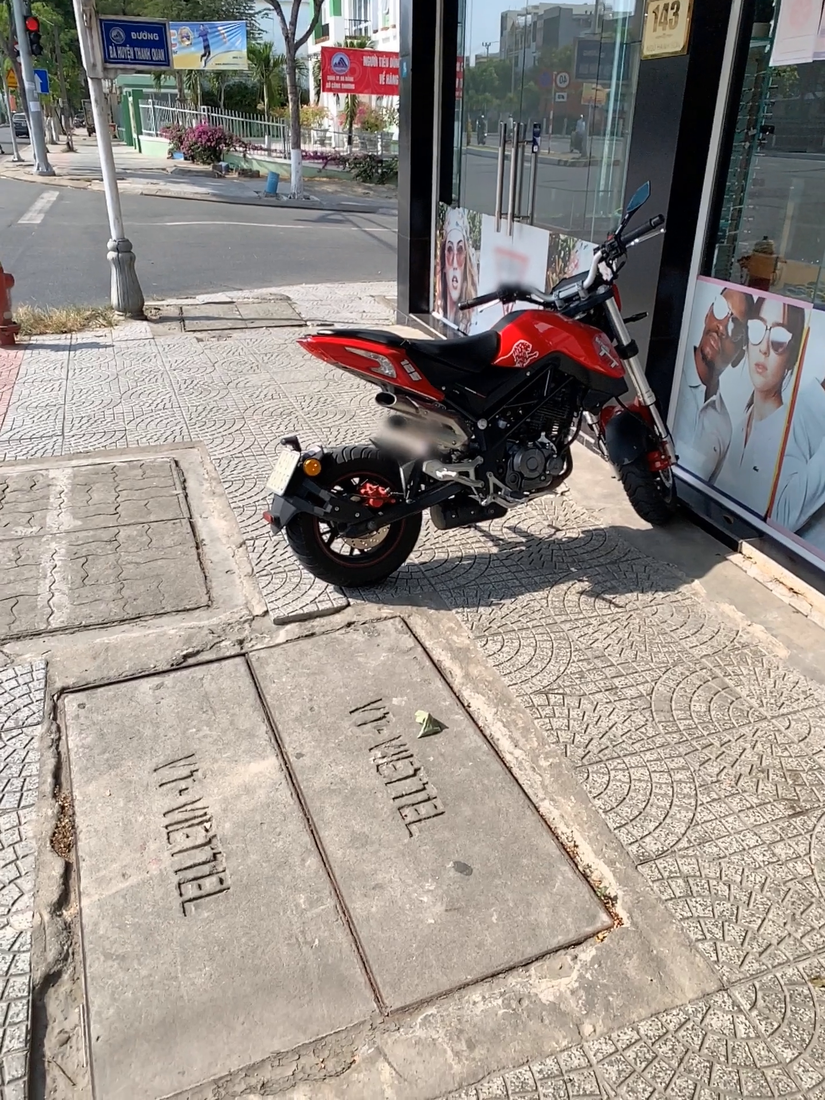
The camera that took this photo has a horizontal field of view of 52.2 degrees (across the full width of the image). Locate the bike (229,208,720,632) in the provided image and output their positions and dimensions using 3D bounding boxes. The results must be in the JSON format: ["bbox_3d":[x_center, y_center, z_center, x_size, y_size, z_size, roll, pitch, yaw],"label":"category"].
[{"bbox_3d":[0.328,-0.730,3.549,2.124,1.216,0.834,-18,32,-35],"label":"bike"}]
